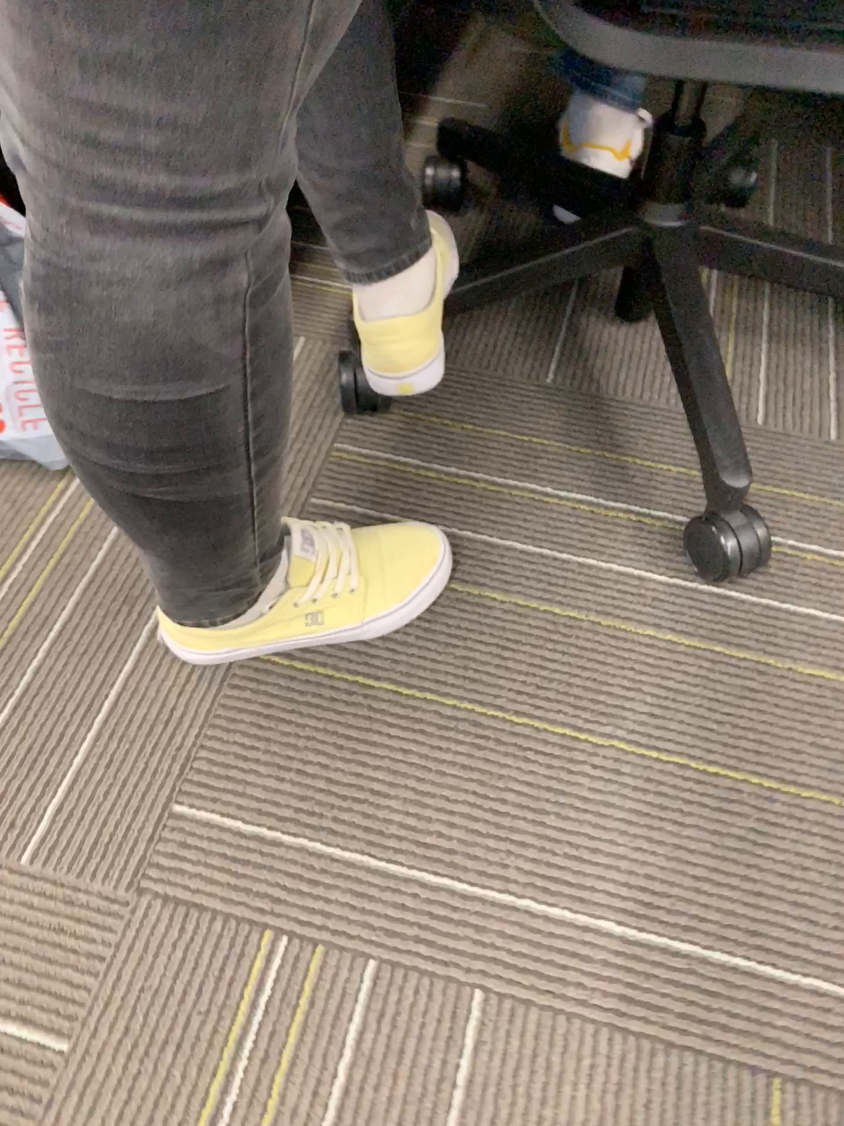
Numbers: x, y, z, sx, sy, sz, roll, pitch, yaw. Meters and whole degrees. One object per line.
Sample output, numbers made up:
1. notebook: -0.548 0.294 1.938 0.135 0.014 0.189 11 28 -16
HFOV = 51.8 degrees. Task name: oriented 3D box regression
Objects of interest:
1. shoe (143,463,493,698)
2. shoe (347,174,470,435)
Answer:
1. shoe: -0.087 0.013 0.753 0.268 0.101 0.102 -14 55 -12
2. shoe: -0.008 -0.251 0.825 0.098 0.096 0.261 3 54 0
